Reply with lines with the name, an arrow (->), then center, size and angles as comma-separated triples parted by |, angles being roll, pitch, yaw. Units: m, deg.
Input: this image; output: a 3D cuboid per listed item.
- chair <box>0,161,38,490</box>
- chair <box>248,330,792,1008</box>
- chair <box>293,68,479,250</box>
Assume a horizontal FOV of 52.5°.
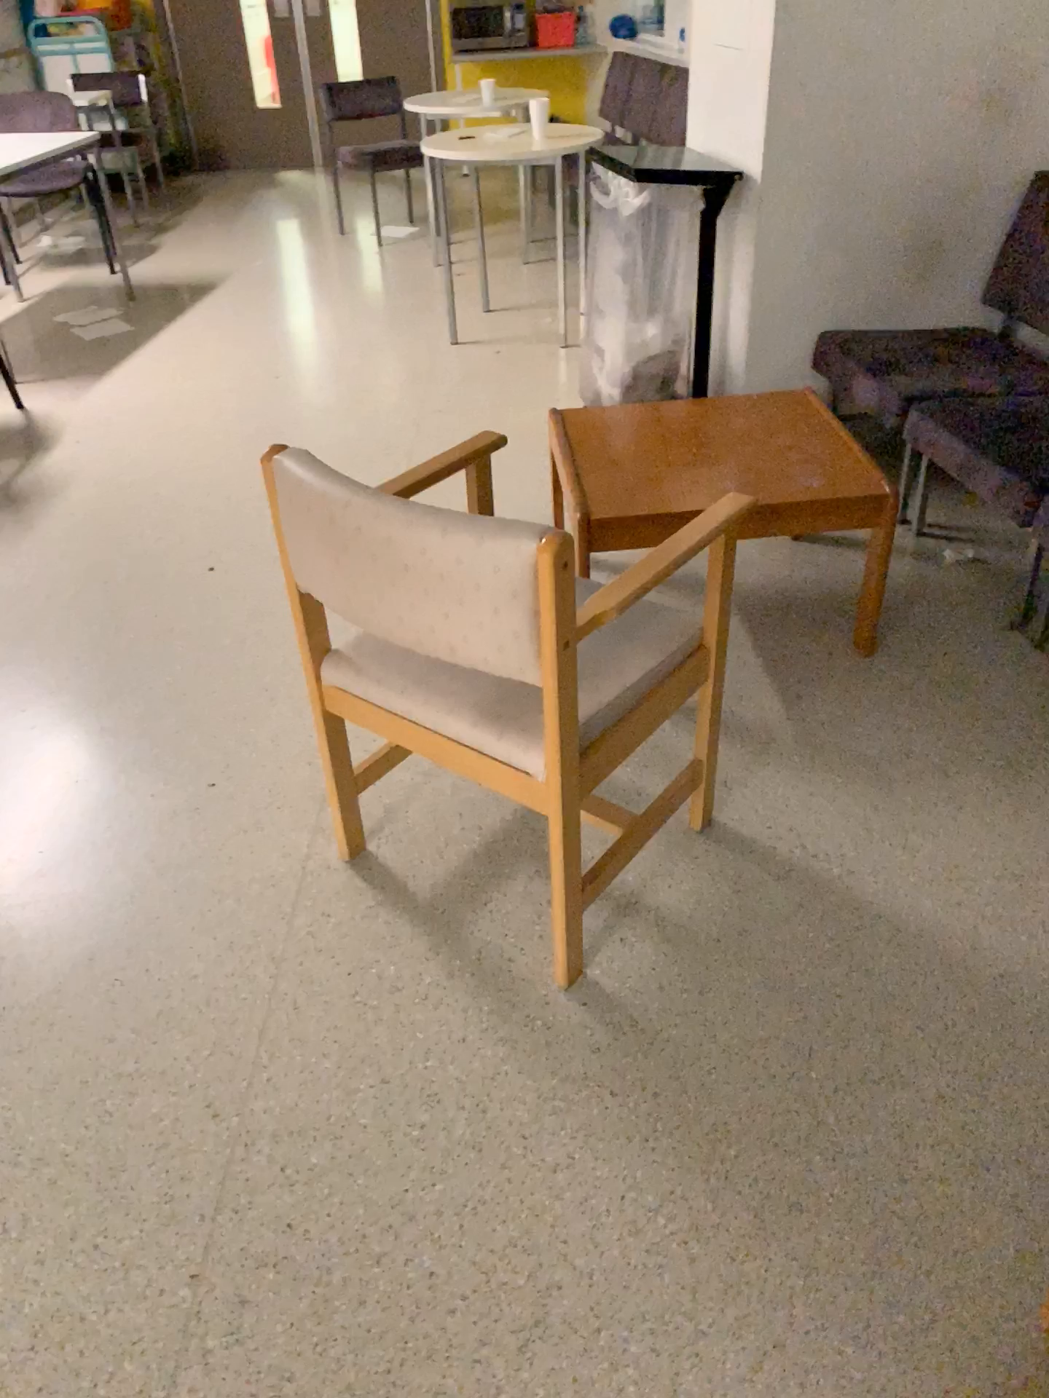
chair -> -2.021, -1.186, 3.322 | 0.580, 0.753, 0.767 | -6, 35, -5
chair -> 0.017, -0.072, 1.609 | 0.512, 0.753, 0.513 | 22, 42, 31
chair -> -0.707, -2.757, 5.382 | 0.611, 0.663, 0.948 | -16, 37, -18
